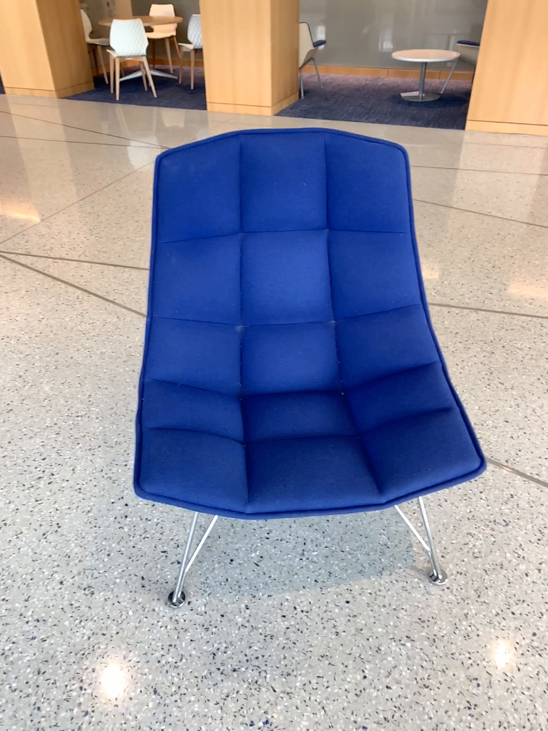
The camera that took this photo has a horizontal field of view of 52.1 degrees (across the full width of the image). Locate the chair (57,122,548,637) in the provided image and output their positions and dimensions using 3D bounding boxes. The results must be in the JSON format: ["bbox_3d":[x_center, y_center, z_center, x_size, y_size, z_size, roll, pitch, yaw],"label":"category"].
[{"bbox_3d":[0.062,-0.005,1.436,0.798,0.962,0.836,-3,35,-3],"label":"chair"}]
